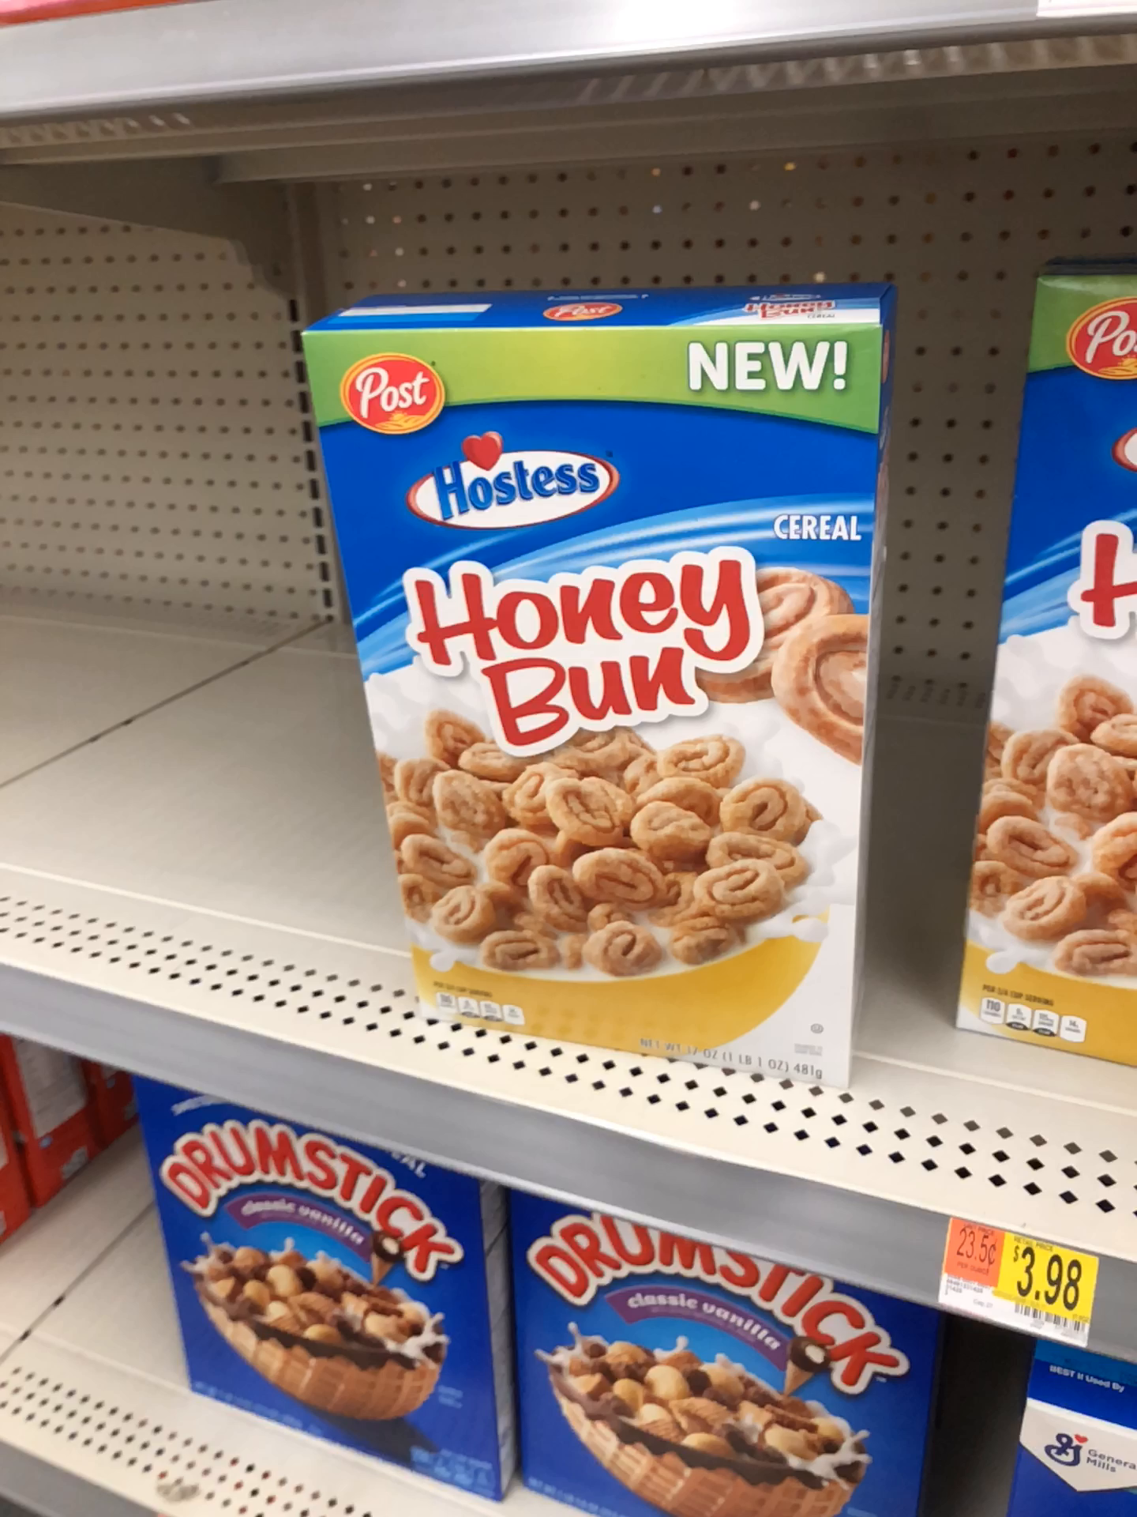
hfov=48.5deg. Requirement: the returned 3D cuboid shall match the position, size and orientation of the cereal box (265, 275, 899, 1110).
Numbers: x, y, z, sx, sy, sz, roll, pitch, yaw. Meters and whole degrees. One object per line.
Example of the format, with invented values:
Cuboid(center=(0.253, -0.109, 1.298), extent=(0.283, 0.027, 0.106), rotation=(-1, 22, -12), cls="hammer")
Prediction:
Cuboid(center=(0.014, -0.016, 0.490), extent=(0.200, 0.309, 0.060), rotation=(5, 31, 18), cls="cereal box")
